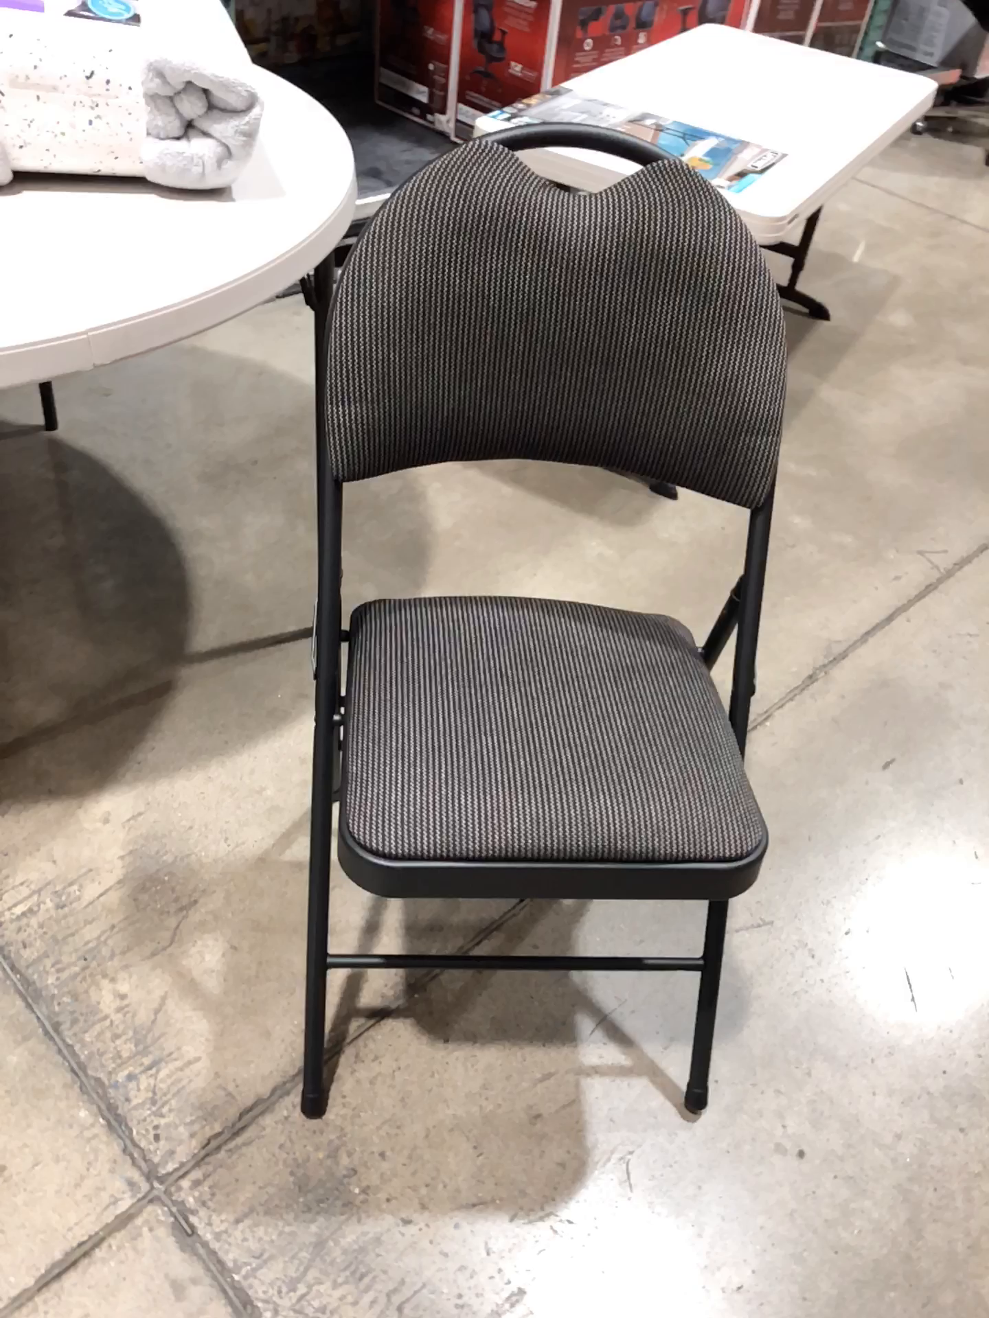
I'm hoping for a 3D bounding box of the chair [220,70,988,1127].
[{"bbox_3d":[0.050,-0.010,1.086,0.510,0.857,0.562,4,42,-6],"label":"chair"}]
